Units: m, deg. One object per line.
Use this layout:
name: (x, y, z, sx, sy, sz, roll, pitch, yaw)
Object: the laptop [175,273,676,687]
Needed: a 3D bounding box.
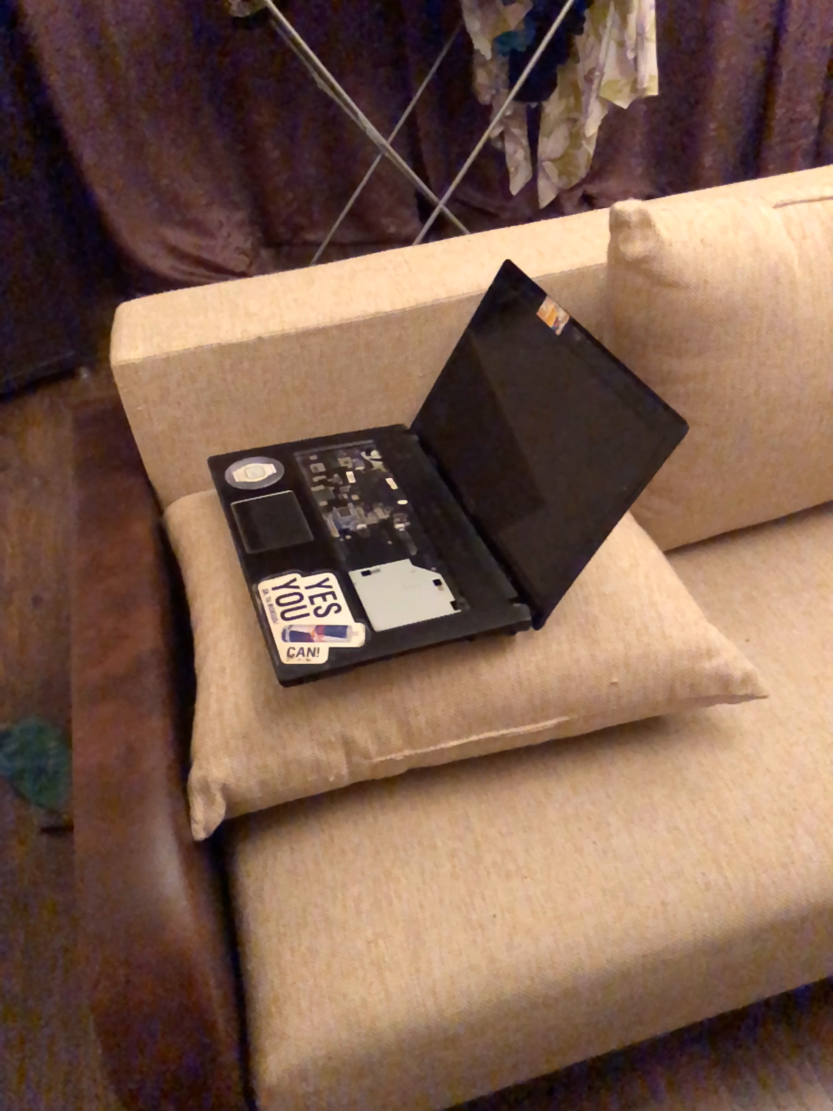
laptop: (-0.011, -0.114, 1.029, 0.408, 0.198, 0.414, -14, 42, -13)
